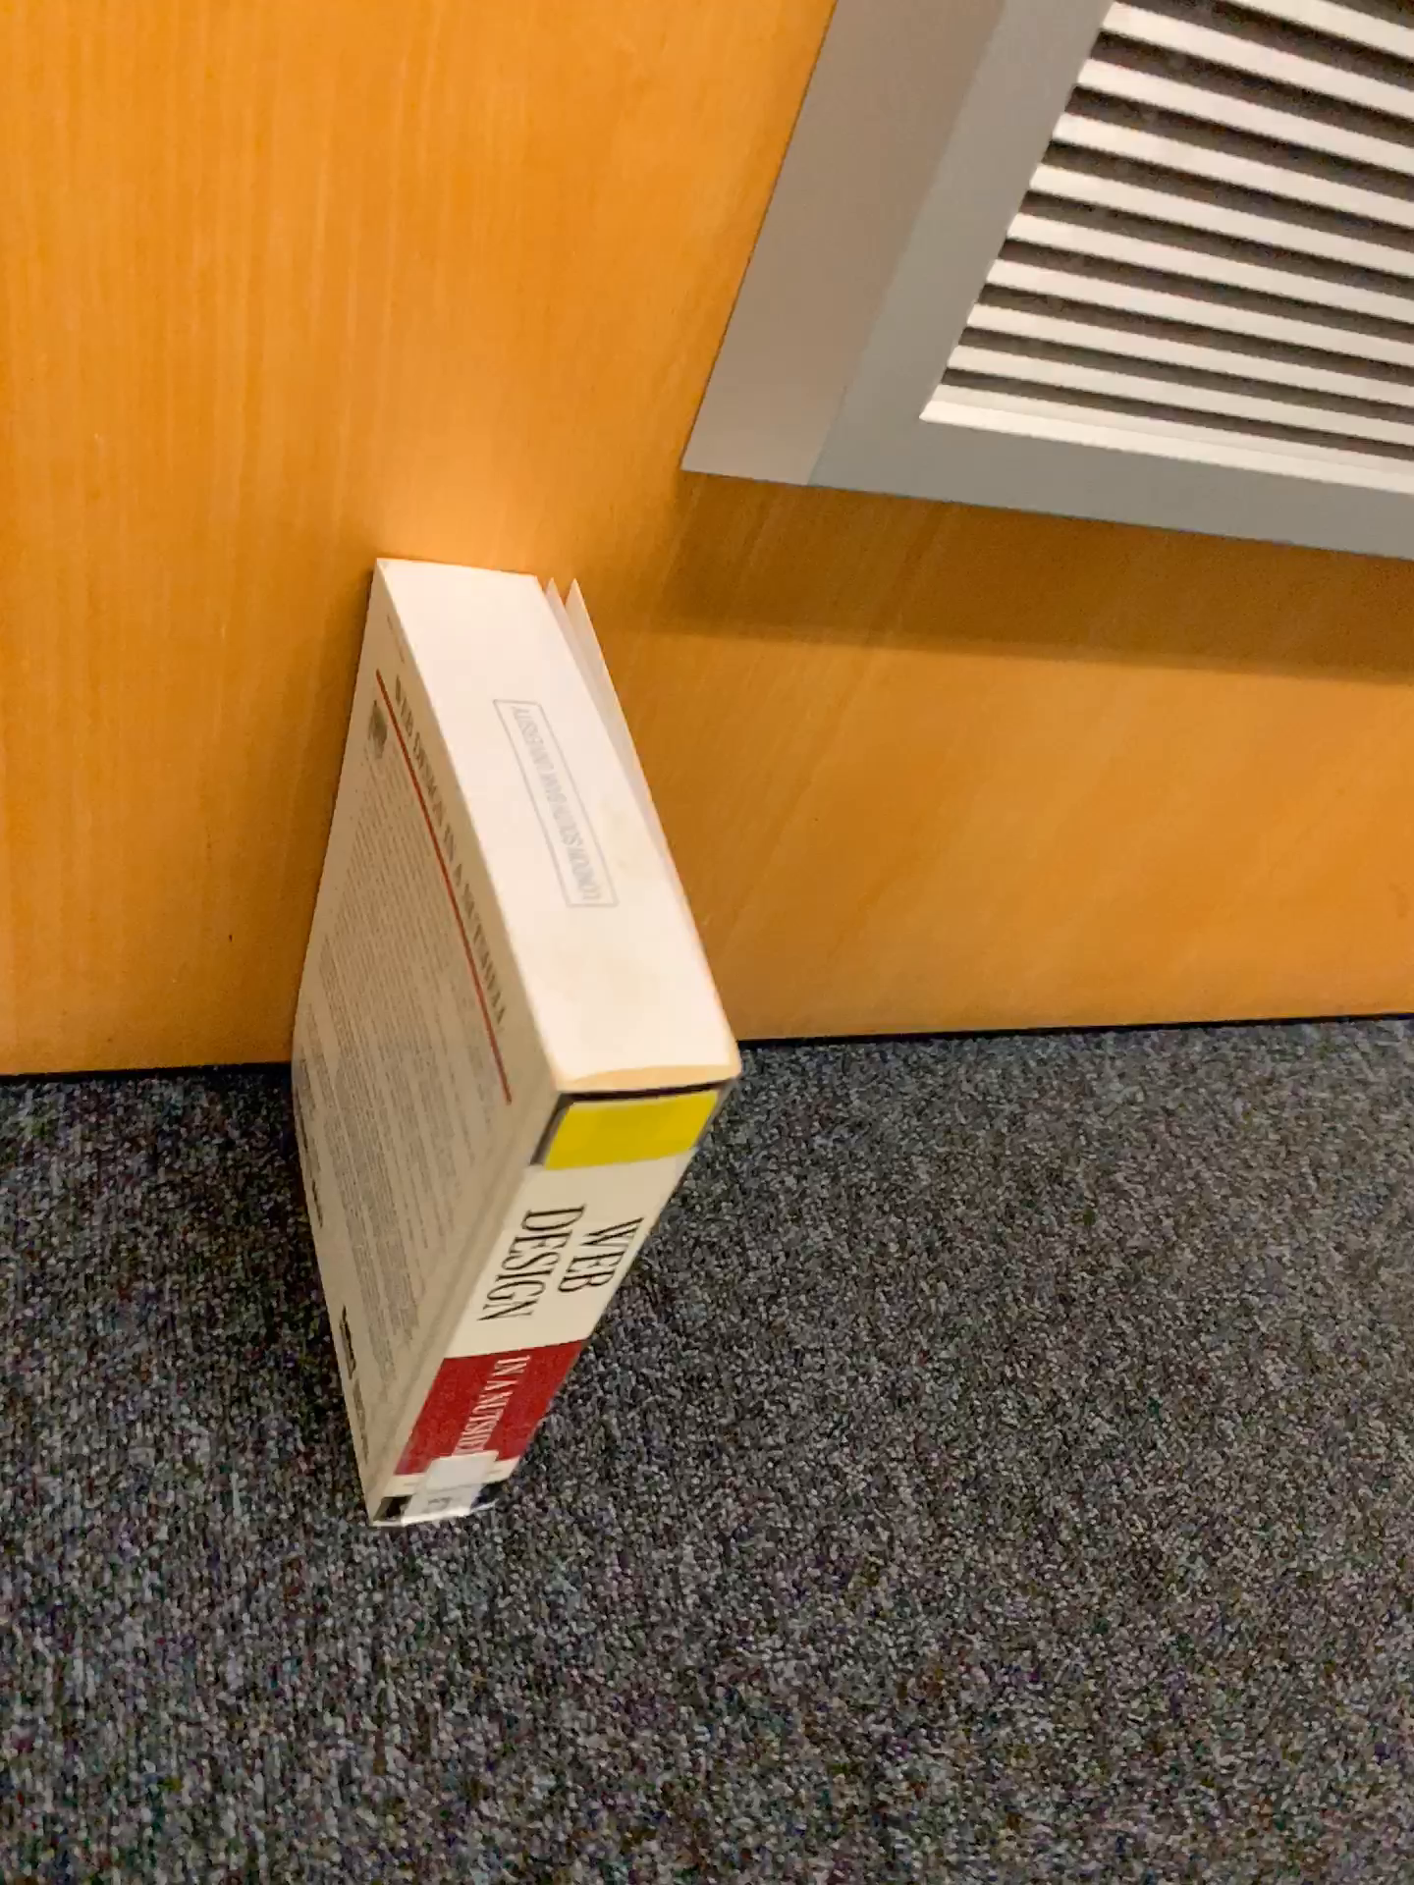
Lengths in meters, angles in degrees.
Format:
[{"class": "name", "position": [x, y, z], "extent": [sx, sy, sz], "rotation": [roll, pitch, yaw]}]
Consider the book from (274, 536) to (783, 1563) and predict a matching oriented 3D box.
[{"class": "book", "position": [-0.069, 0.039, 0.396], "extent": [0.050, 0.228, 0.171], "rotation": [-3, 52, -26]}]
